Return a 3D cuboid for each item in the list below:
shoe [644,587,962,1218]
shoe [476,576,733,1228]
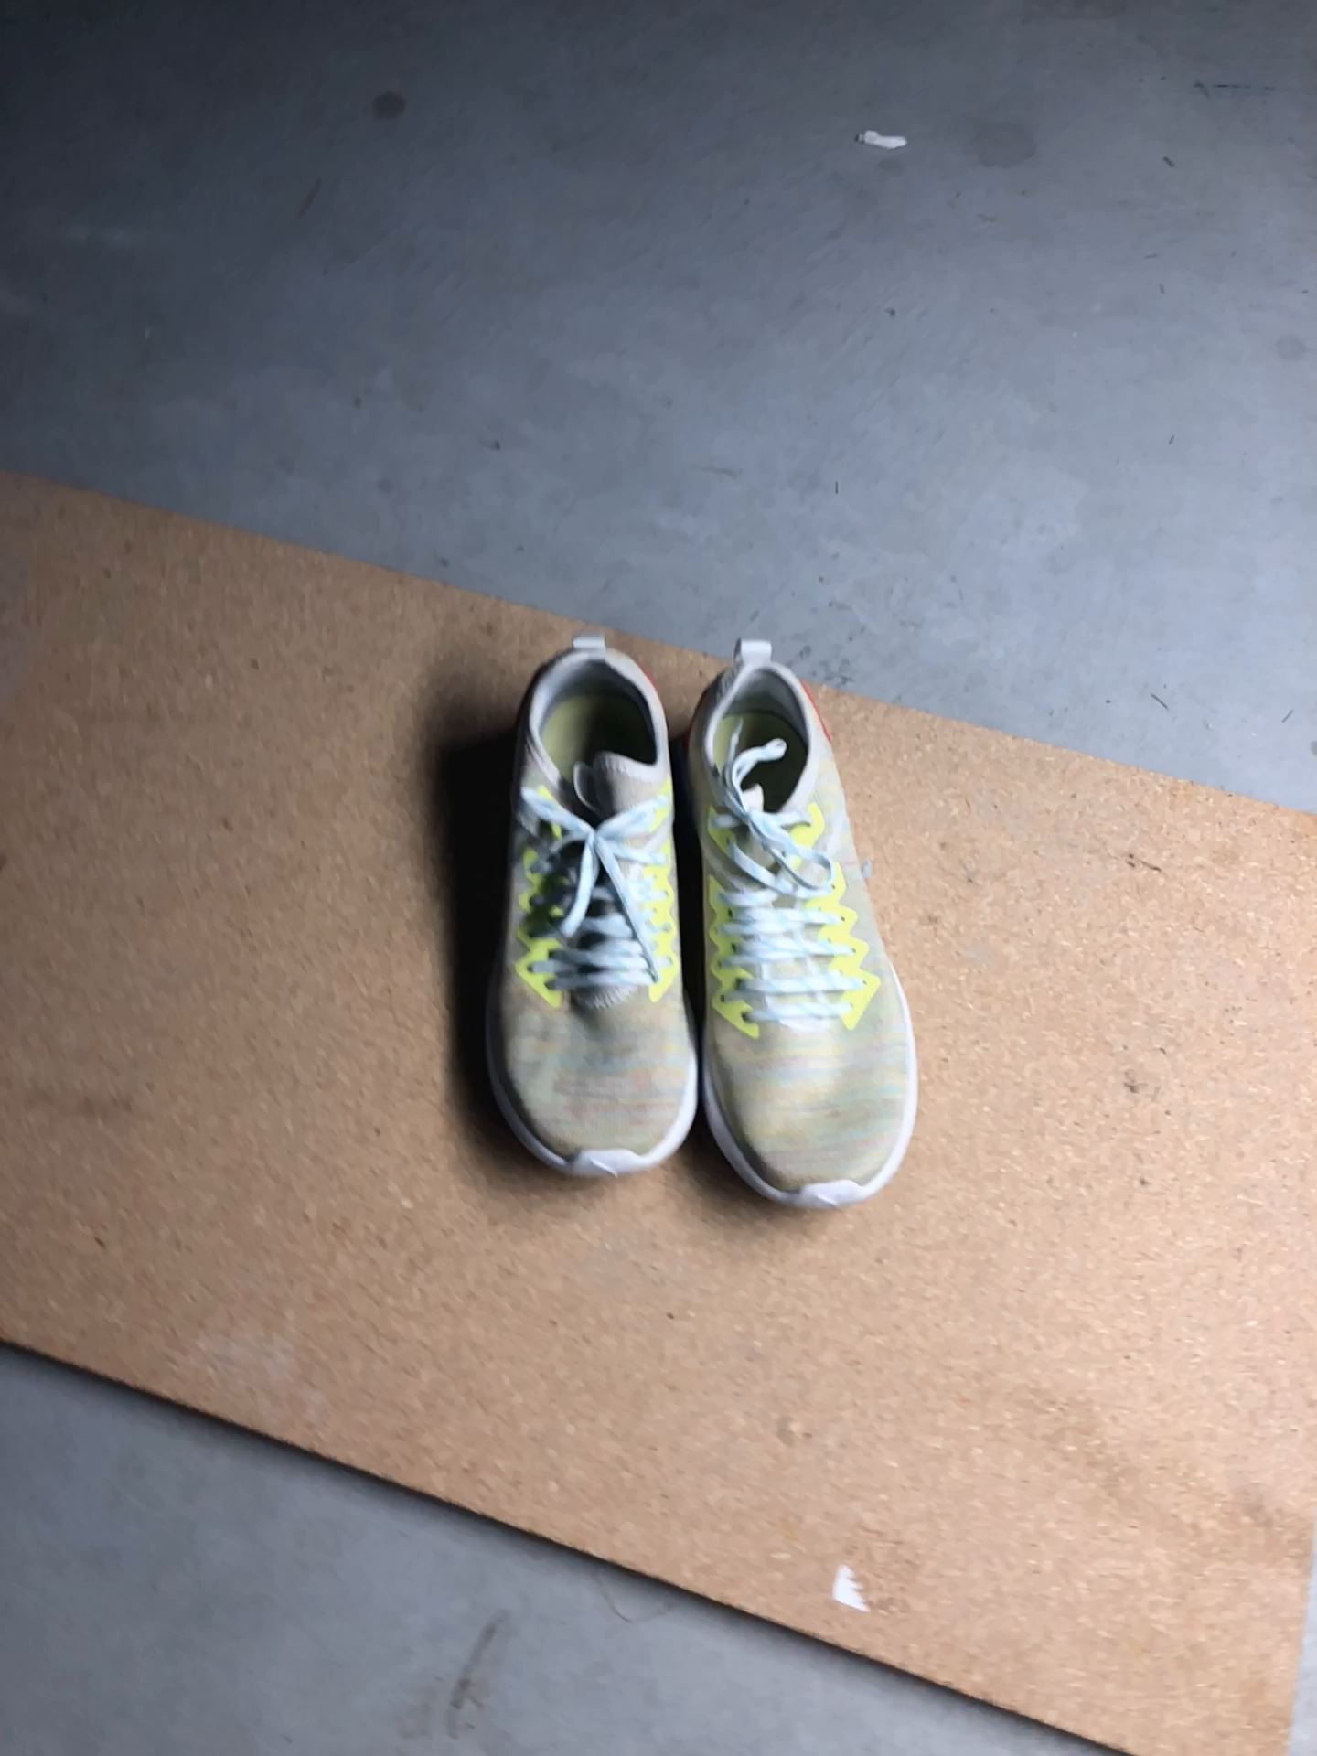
[{"bbox_3d":[0.063,0.009,0.736,0.110,0.100,0.300,-1,68,-8],"label":"shoe"},{"bbox_3d":[-0.035,0.009,0.712,0.100,0.100,0.300,-1,68,-8],"label":"shoe"}]
